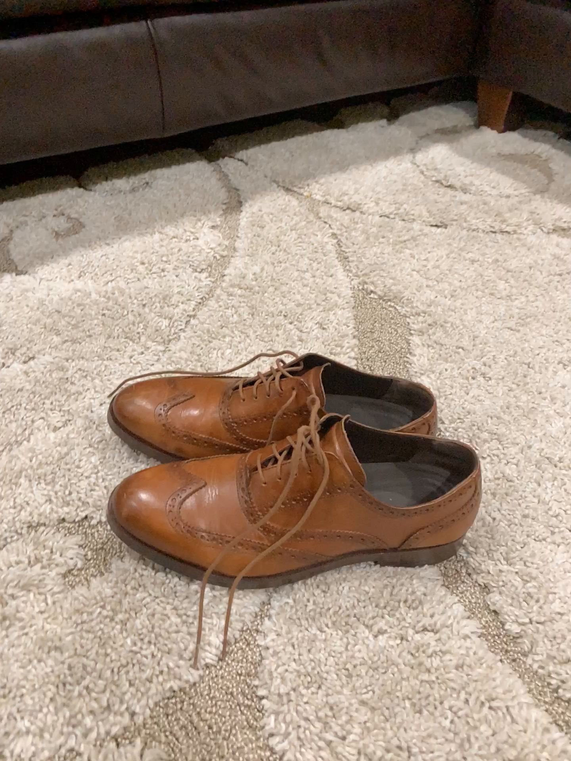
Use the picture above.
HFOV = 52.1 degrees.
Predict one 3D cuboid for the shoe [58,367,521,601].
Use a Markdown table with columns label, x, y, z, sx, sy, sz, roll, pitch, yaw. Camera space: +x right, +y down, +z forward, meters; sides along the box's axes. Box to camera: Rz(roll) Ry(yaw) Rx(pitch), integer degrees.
| label | x | y | z | sx | sy | sz | roll | pitch | yaw |
| --- | --- | --- | --- | --- | --- | --- | --- | --- | --- |
| shoe | 0.001 | 0.076 | 0.435 | 0.280 | 0.131 | 0.106 | -1 | 43 | -4 |

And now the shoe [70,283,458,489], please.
| label | x | y | z | sx | sy | sz | roll | pitch | yaw |
| --- | --- | --- | --- | --- | --- | --- | --- | --- | --- |
| shoe | -0.016 | 0.006 | 0.509 | 0.282 | 0.131 | 0.106 | 2 | 43 | -1 |
